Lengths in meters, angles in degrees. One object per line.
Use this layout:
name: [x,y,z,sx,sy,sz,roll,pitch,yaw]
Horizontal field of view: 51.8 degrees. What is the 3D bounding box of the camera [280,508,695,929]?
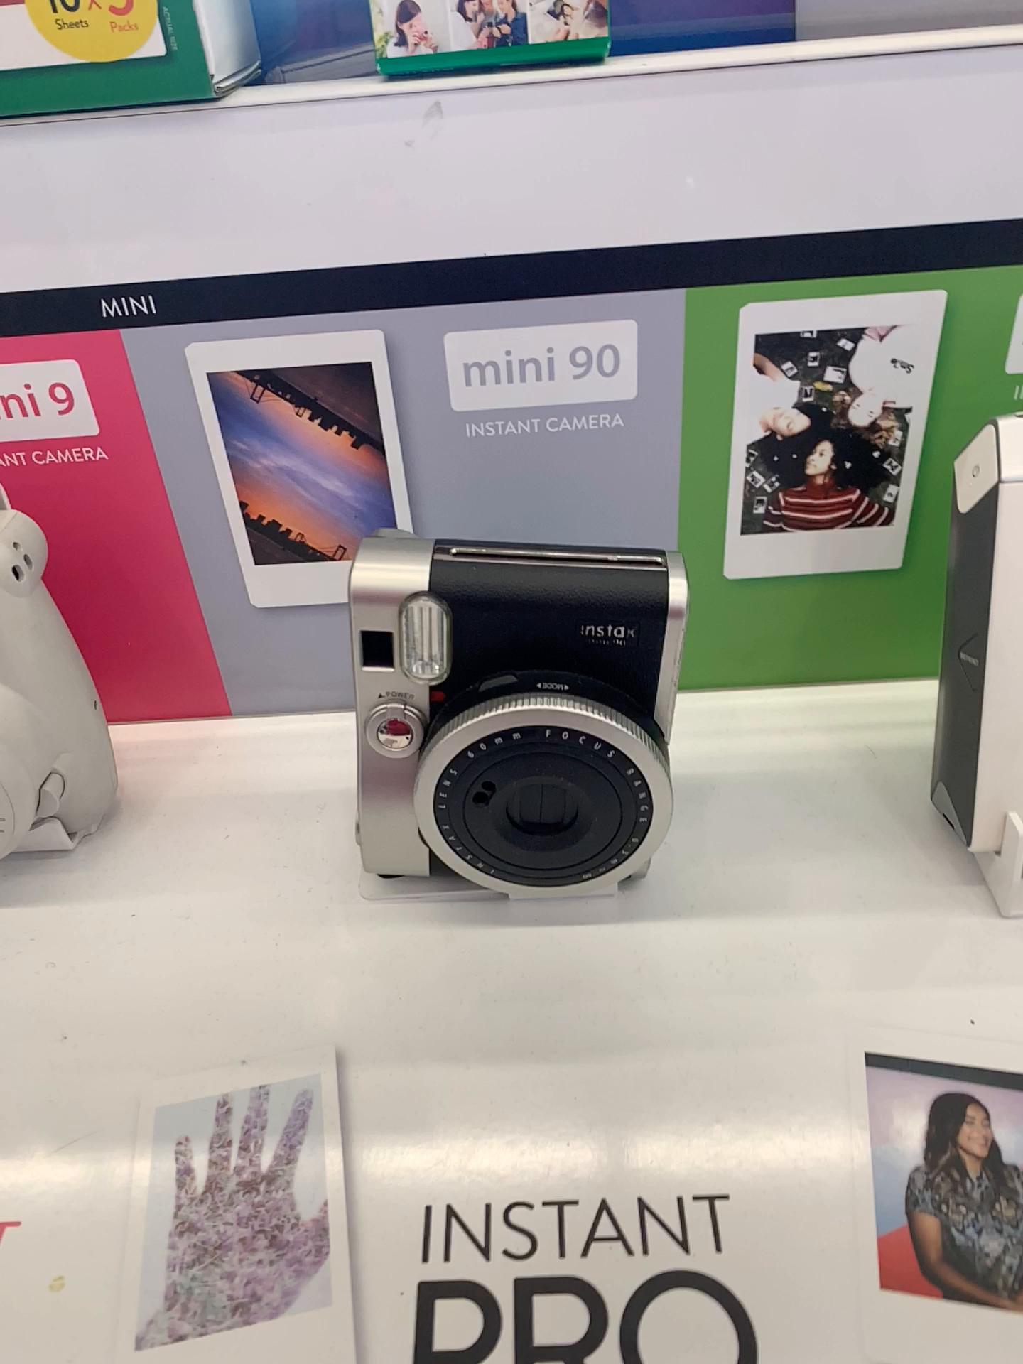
camera: [-0.005,0.012,0.305,0.100,0.109,0.050,3,37,4]
